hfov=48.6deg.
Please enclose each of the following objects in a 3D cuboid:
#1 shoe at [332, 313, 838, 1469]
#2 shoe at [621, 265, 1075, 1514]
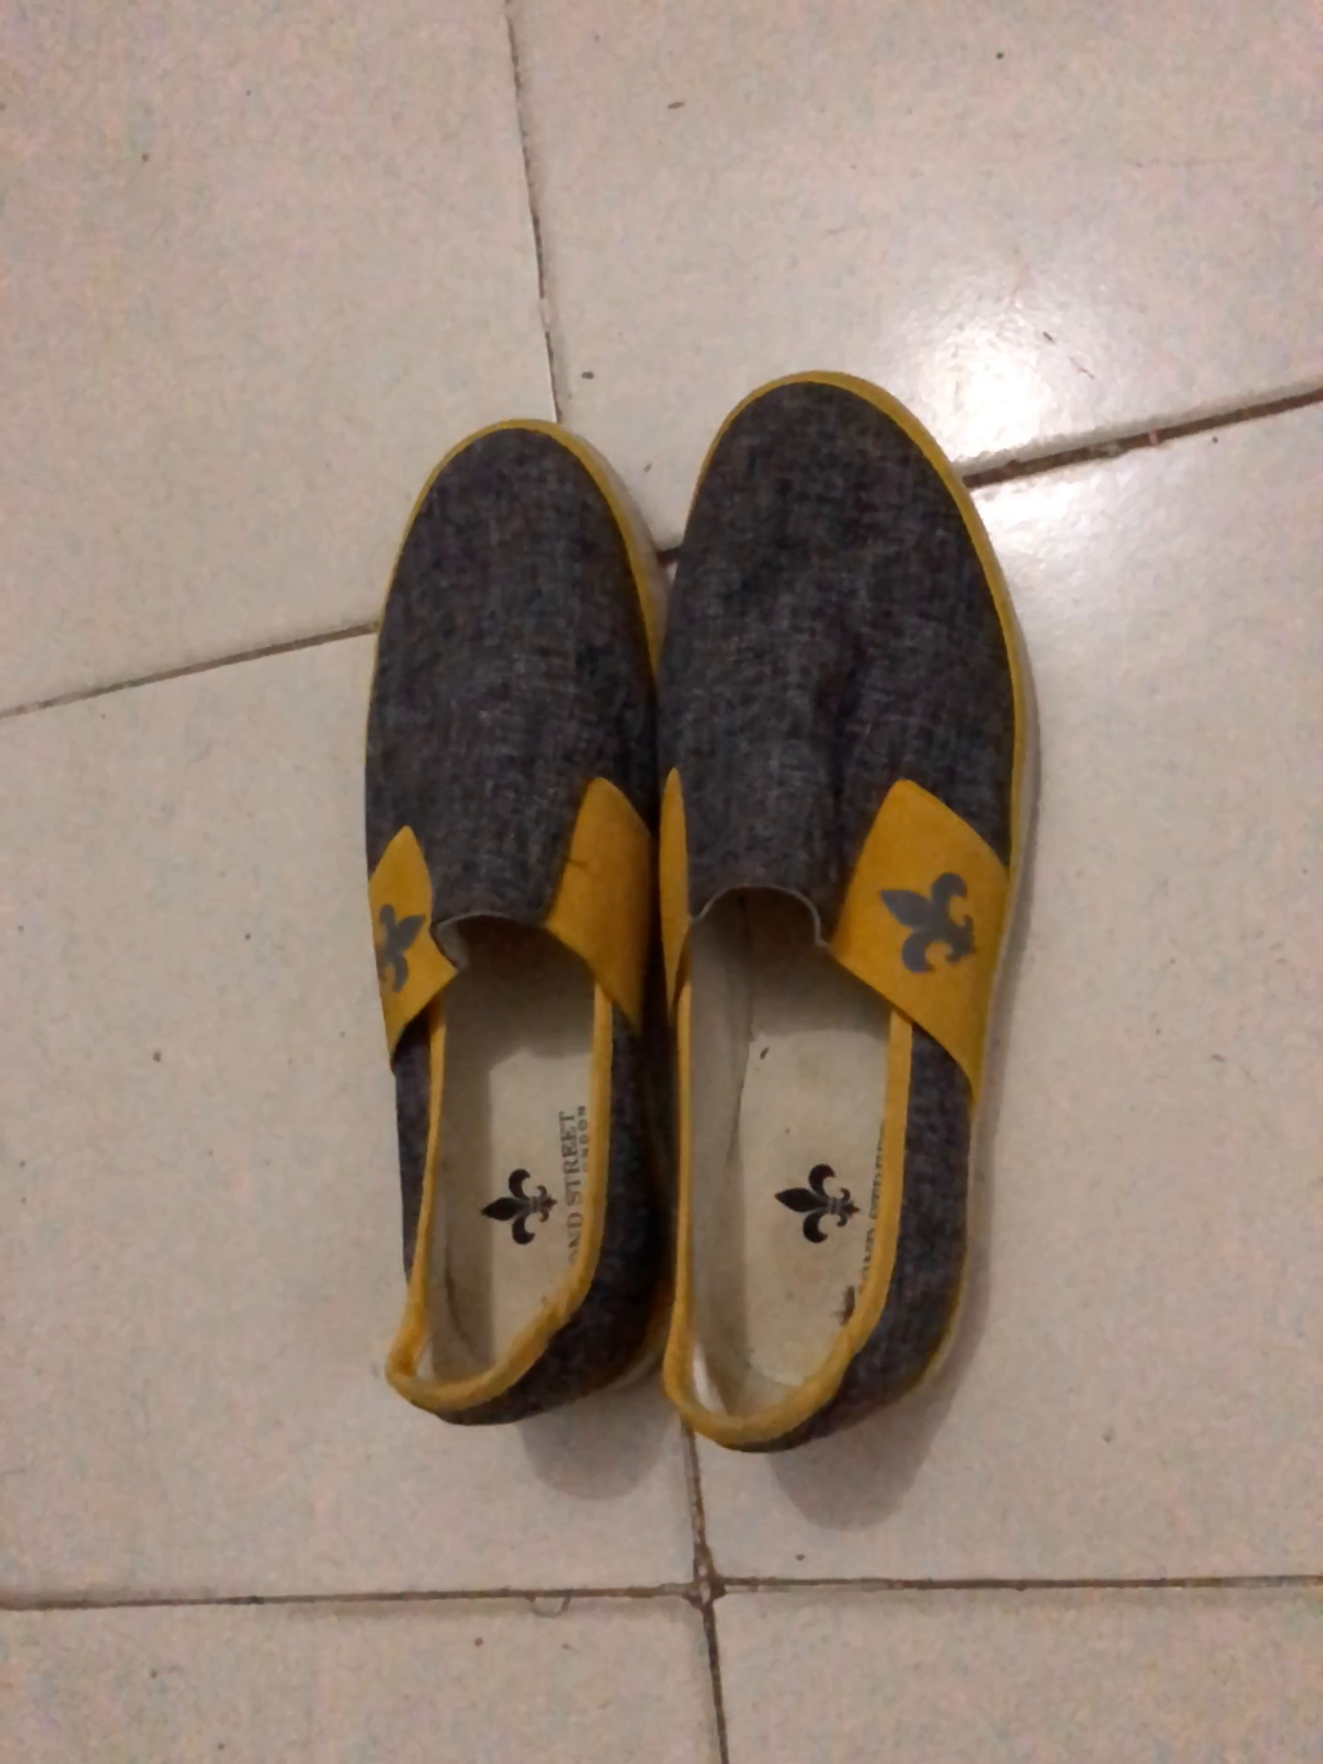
[{"bbox_3d":[-0.020,0.005,0.426,0.100,0.100,0.290,-6,82,18],"label":"shoe"},{"bbox_3d":[0.052,0.002,0.365,0.090,0.100,0.260,-1,83,18],"label":"shoe"}]
